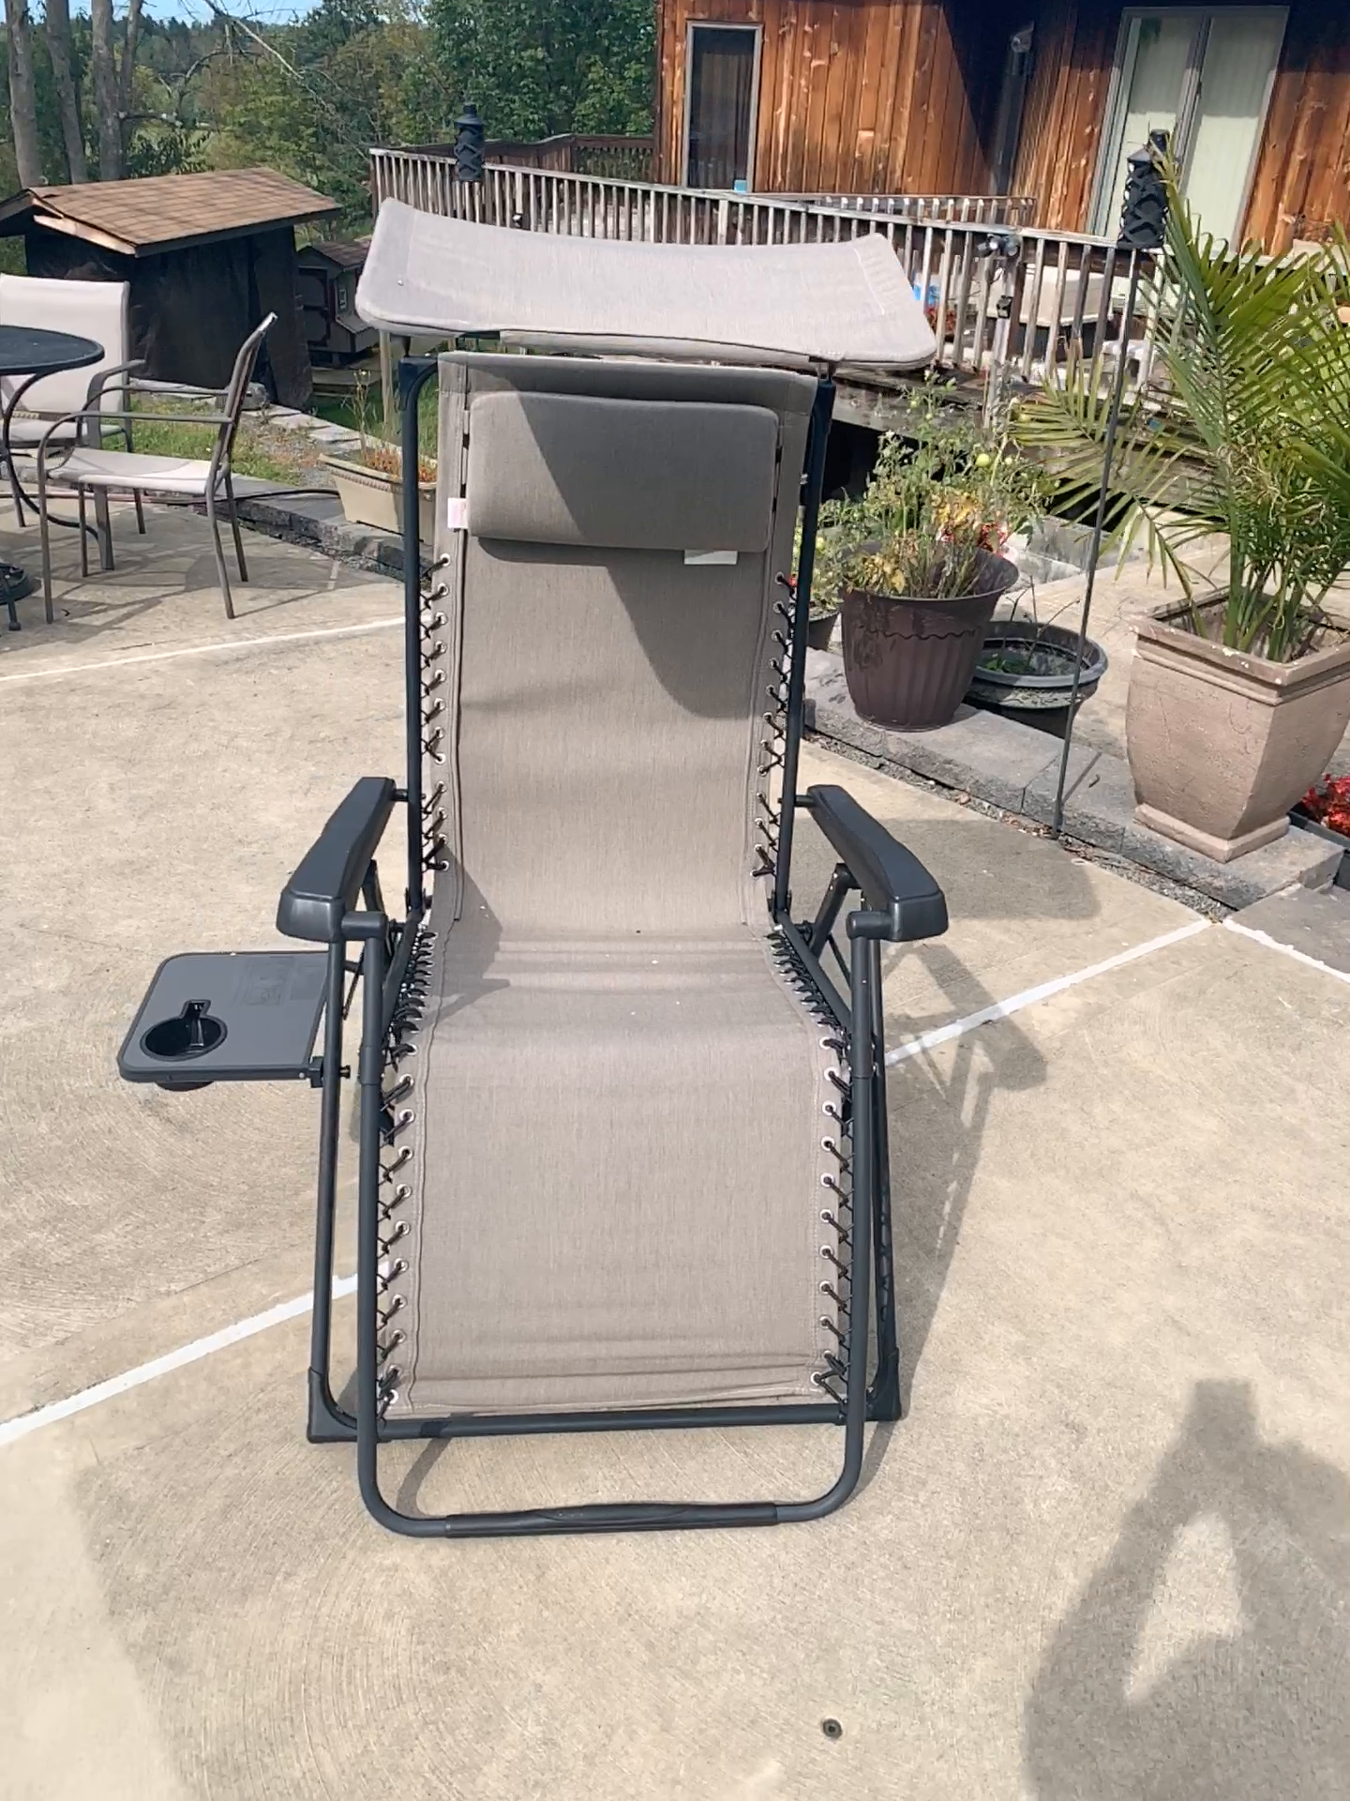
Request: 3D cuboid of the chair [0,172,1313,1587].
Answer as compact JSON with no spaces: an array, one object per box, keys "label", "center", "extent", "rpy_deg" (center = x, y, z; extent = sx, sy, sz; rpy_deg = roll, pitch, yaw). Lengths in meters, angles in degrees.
[{"label":"chair","center":[-0.220,-0.085,1.450],"extent":[1.058,1.137,0.916],"rpy_deg":[0,29,-5]}]
